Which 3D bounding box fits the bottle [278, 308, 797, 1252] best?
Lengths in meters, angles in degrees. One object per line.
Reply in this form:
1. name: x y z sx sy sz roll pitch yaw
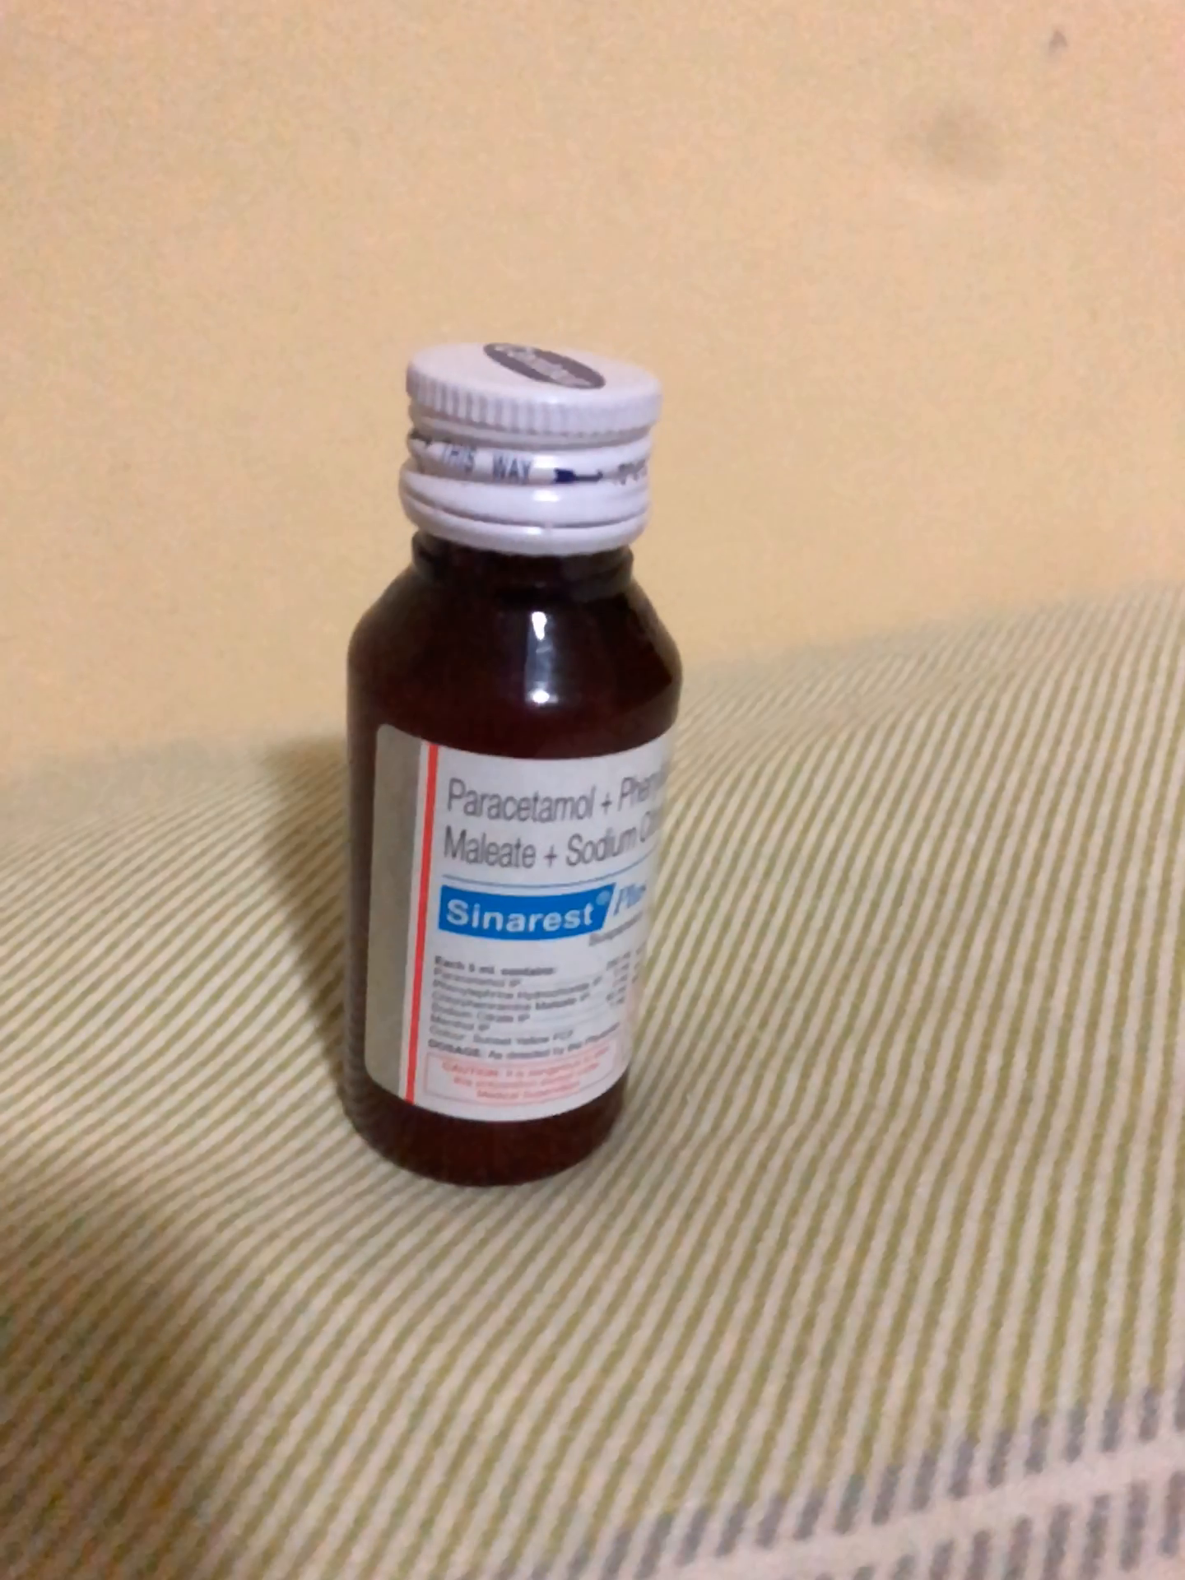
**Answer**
1. bottle: -0.011 -0.001 0.160 0.040 0.100 0.040 5 27 -2
